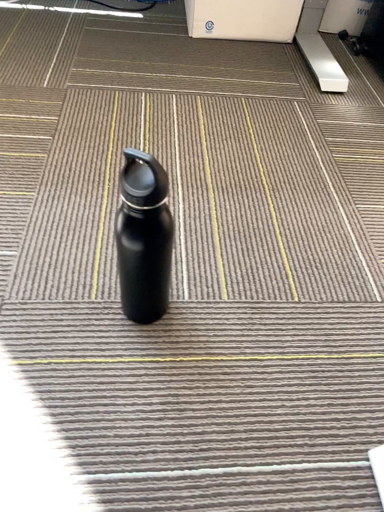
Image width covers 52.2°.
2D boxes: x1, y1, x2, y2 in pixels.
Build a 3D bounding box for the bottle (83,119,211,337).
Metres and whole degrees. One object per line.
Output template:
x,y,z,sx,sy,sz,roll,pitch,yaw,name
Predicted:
-0.054,-0.017,0.466,0.090,0.249,0.080,38,56,22,bottle
